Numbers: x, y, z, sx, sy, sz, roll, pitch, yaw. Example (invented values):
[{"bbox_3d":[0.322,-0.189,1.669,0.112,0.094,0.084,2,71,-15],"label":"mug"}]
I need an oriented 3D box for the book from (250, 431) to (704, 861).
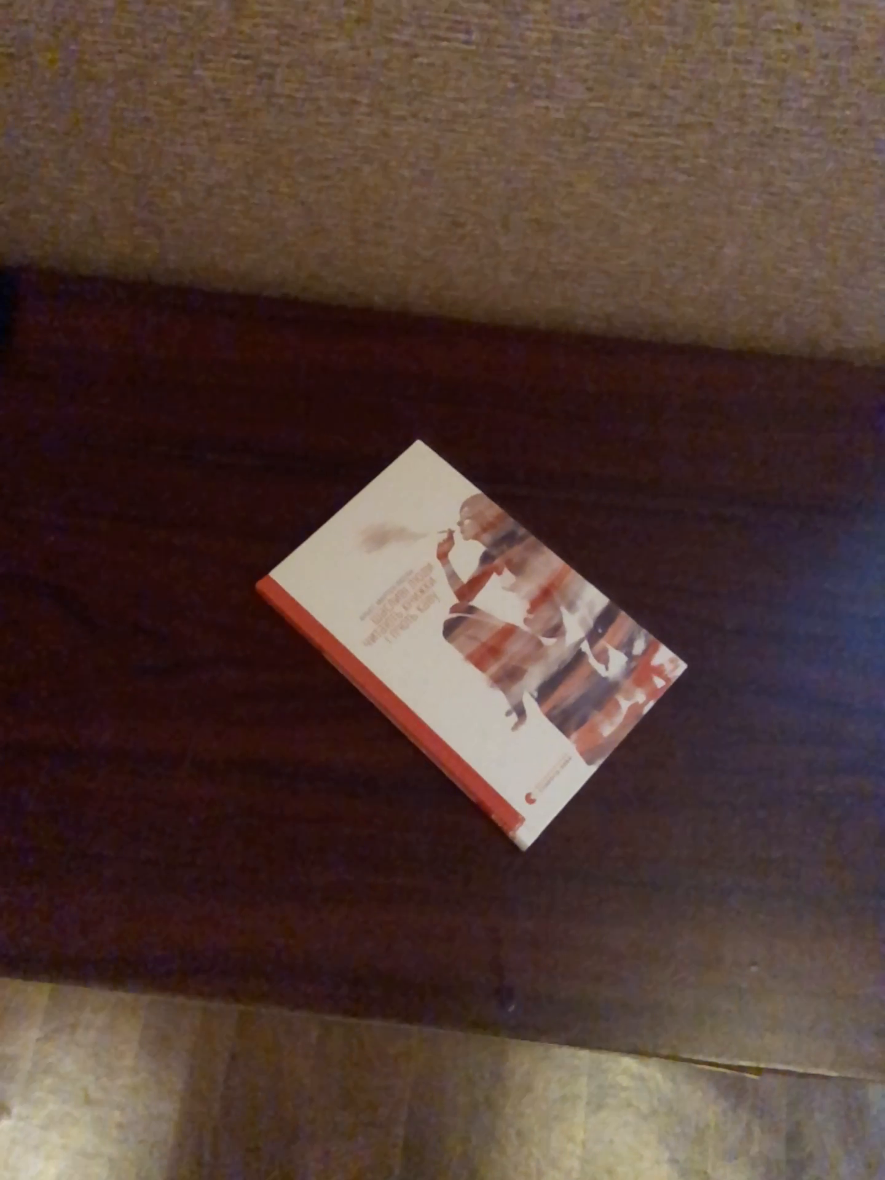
[{"bbox_3d":[0.019,0.025,0.584,0.227,0.020,0.150,41,72,14],"label":"book"}]
